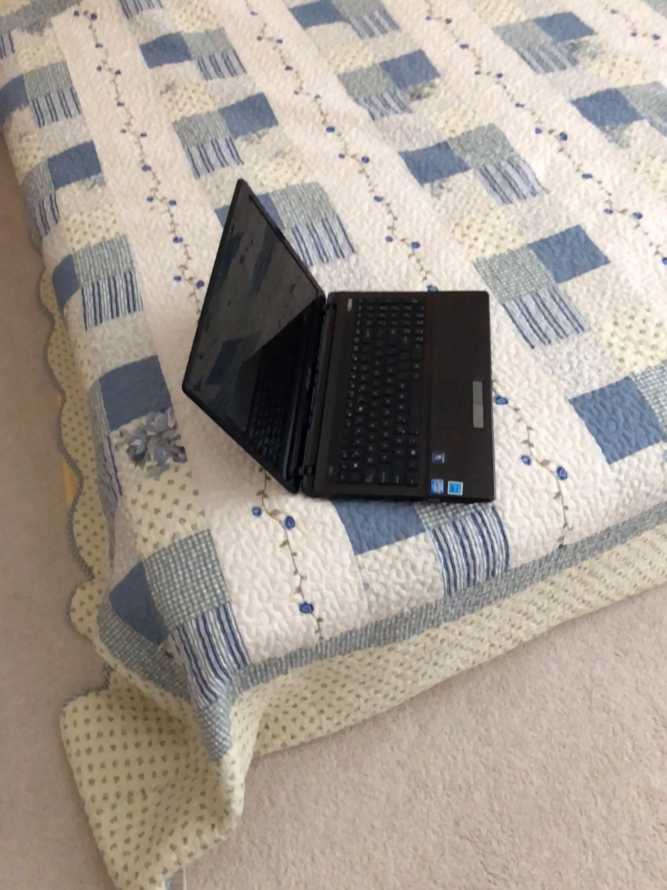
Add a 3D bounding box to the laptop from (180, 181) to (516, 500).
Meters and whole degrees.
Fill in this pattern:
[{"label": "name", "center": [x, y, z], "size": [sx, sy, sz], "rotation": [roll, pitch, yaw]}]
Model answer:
[{"label": "laptop", "center": [0.034, -0.142, 0.943], "size": [0.350, 0.193, 0.359], "rotation": [3, 55, 6]}]
